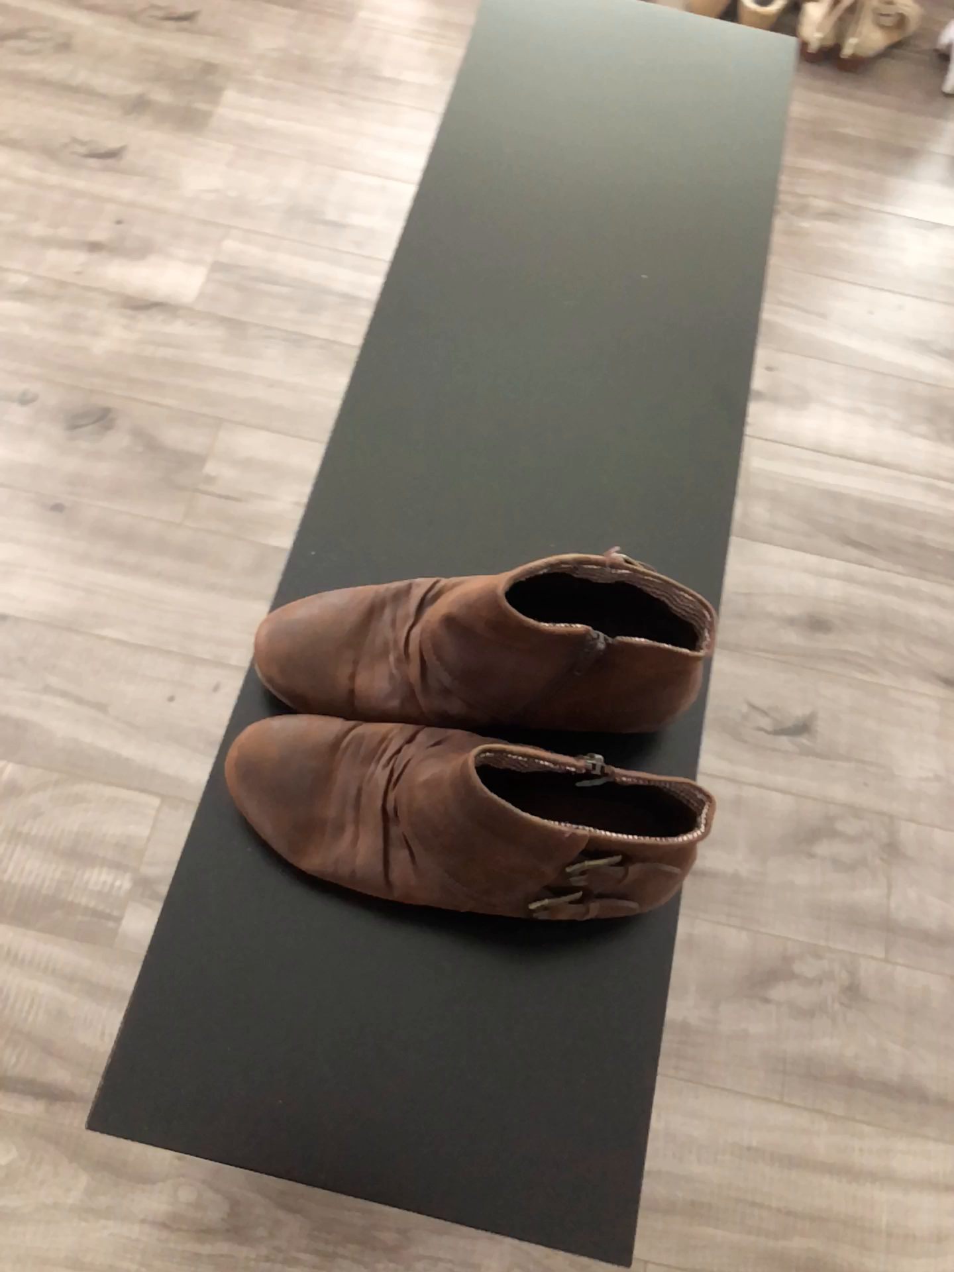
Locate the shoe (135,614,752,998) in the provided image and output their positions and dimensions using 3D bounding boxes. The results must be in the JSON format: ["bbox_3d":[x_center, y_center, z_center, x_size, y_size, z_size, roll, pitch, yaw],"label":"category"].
[{"bbox_3d":[-0.014,0.083,0.482,0.240,0.110,0.090,14,64,1],"label":"shoe"}]

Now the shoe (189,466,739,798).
[{"bbox_3d":[-0.006,0.005,0.533,0.240,0.130,0.090,8,64,-3],"label":"shoe"}]
